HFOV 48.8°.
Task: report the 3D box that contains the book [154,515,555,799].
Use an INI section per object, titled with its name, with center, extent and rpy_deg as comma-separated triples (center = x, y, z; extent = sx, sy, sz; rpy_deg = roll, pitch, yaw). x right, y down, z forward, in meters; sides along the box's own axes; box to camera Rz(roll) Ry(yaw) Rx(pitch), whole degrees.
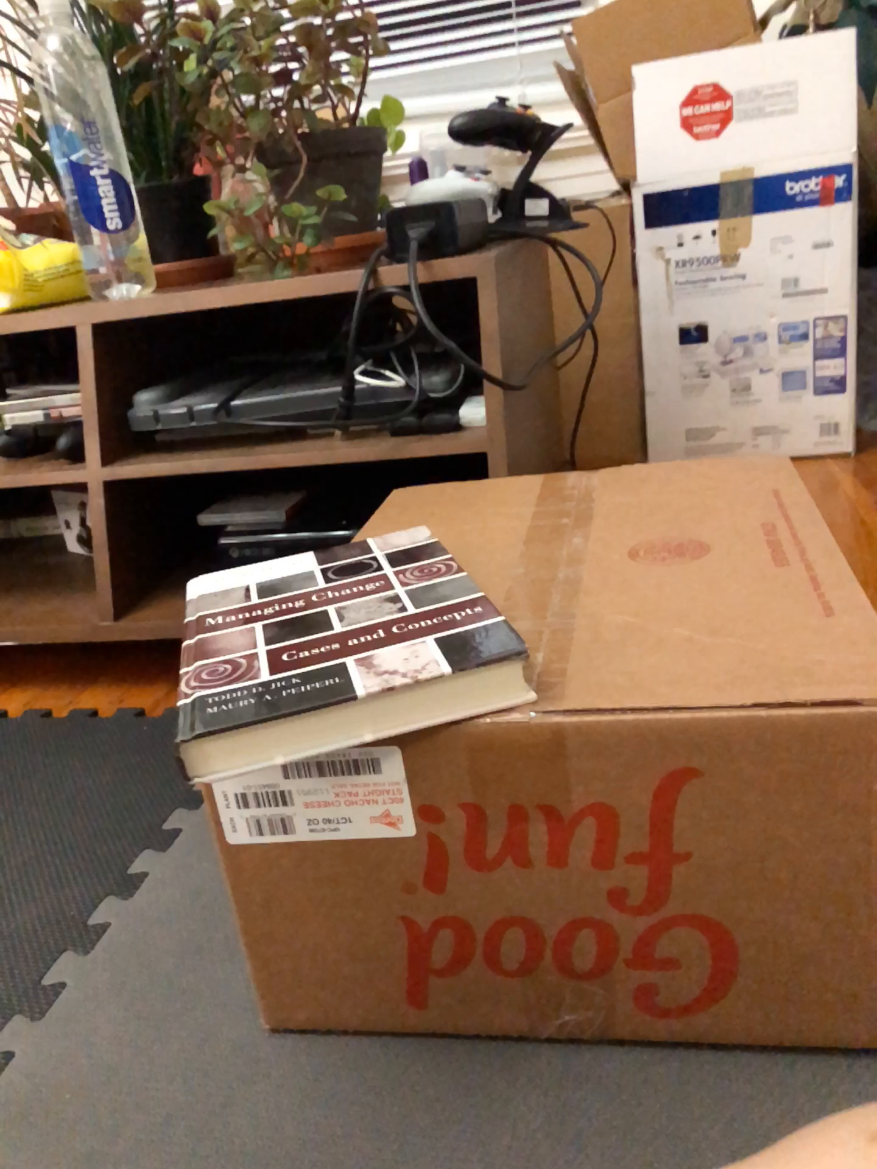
[book]
center = -0.062, 0.023, 0.552
extent = 0.180, 0.030, 0.251
rpy_deg = -12, 21, -10
